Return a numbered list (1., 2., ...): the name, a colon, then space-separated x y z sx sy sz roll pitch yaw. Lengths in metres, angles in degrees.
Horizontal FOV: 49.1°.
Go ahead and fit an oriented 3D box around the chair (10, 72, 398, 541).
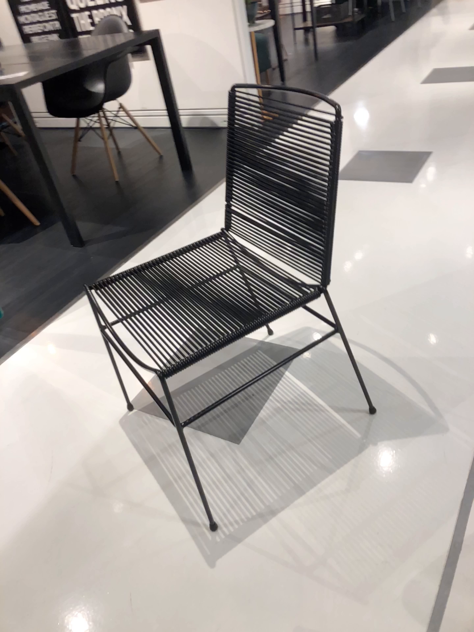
1. chair: -0.026 -0.053 1.226 0.581 0.794 0.523 -28 38 -21
